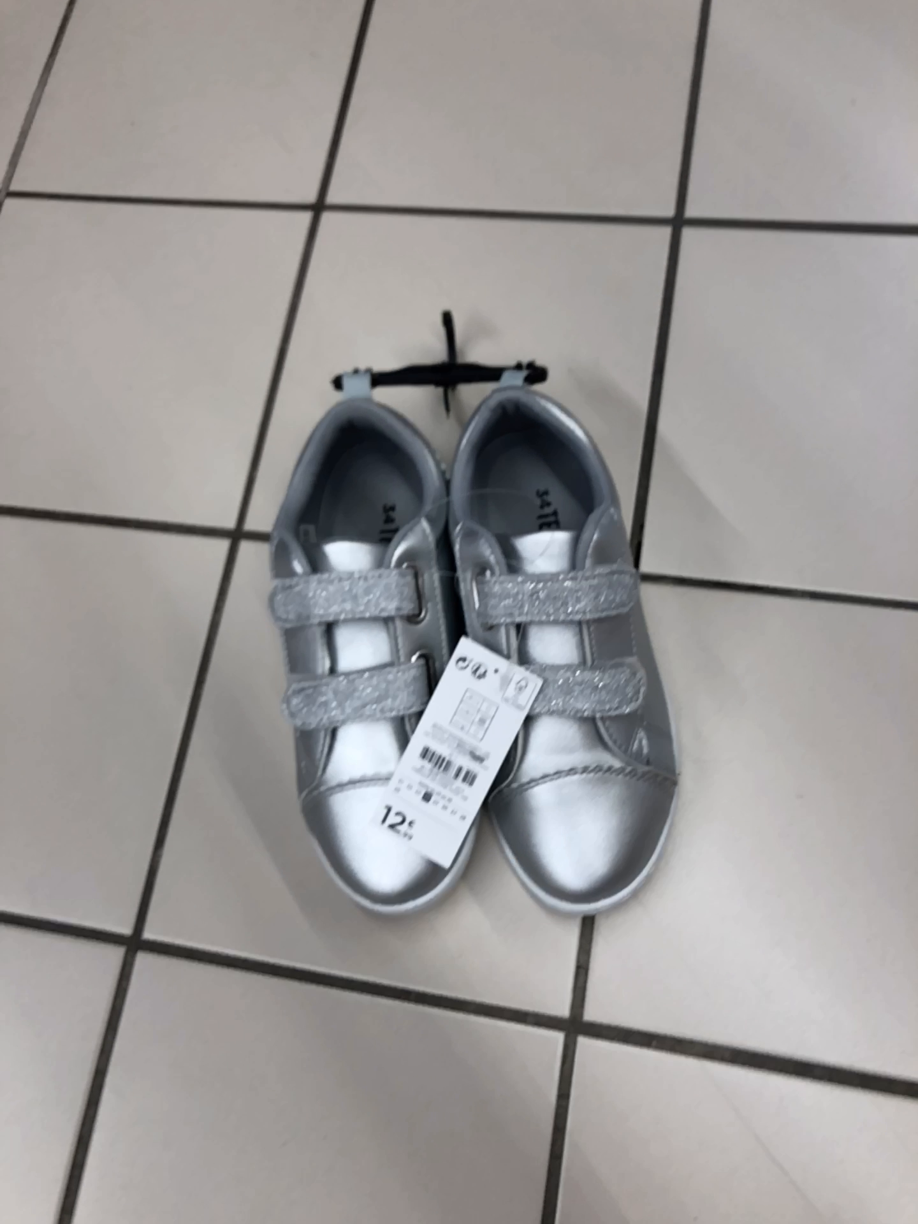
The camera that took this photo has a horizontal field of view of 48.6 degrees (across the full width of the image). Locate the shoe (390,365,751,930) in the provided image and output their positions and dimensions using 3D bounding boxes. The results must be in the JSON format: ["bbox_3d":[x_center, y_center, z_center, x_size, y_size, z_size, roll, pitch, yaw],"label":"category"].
[{"bbox_3d":[0.043,0.017,0.442,0.090,0.086,0.215,-15,70,4],"label":"shoe"}]

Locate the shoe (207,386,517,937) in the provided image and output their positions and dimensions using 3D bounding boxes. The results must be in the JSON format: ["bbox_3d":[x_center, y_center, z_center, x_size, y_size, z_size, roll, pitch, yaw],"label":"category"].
[{"bbox_3d":[-0.043,0.024,0.450,0.090,0.086,0.215,-12,70,5],"label":"shoe"}]
